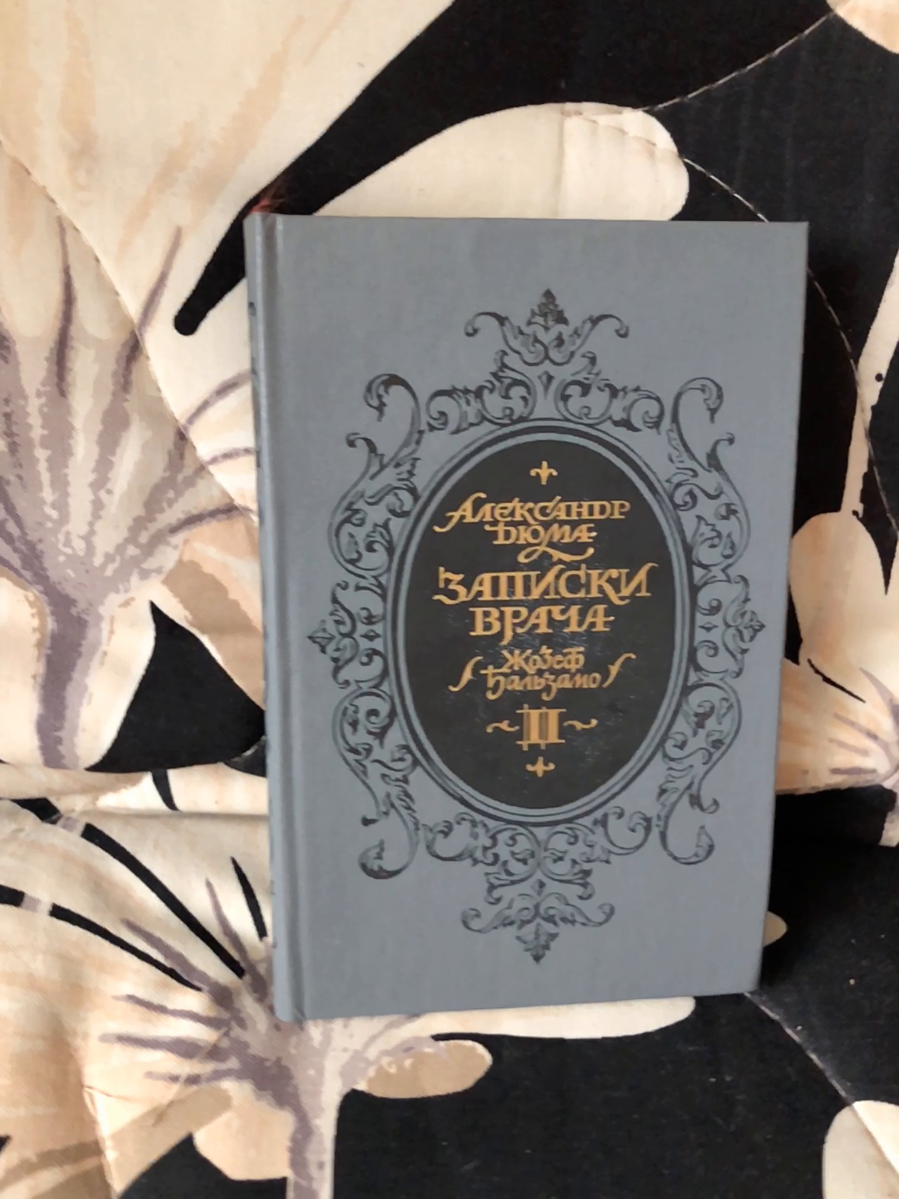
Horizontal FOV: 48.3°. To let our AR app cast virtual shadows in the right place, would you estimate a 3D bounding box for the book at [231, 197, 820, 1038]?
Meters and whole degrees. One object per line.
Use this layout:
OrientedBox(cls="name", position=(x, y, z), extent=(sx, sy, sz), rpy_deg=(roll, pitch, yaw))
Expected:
OrientedBox(cls="book", position=(0.018, 0.008, 0.268), extent=(0.140, 0.030, 0.210), rpy_deg=(-1, 101, -7))
